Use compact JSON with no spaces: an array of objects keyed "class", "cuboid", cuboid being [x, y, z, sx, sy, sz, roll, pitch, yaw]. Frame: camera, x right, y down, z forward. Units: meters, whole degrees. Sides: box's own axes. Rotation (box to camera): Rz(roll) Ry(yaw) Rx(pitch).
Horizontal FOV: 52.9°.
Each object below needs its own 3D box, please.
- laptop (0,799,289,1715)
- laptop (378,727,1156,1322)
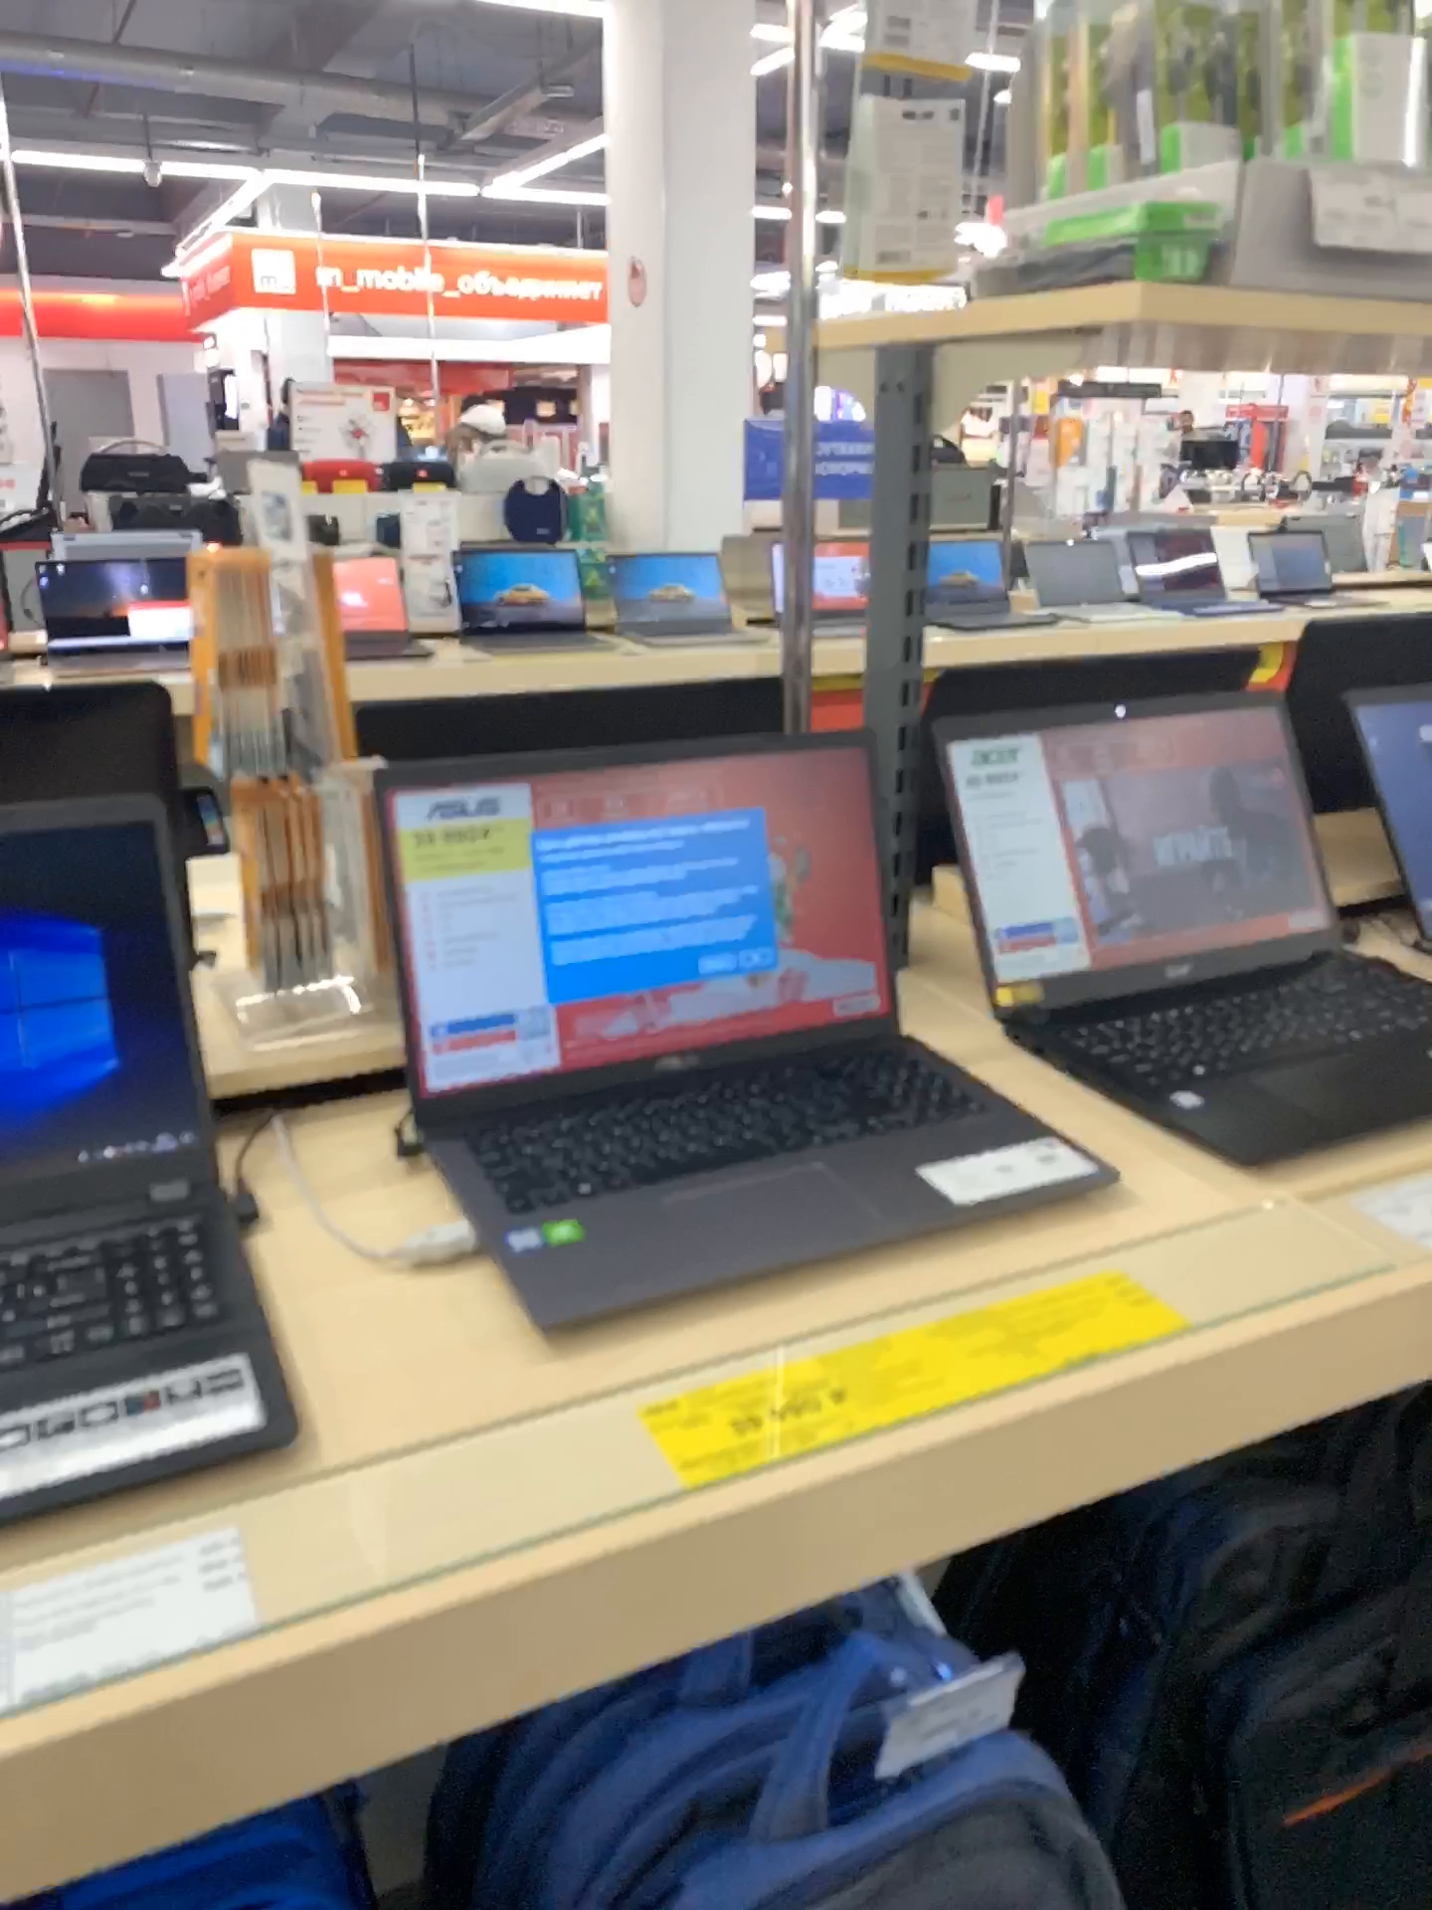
[{"class":"laptop","cuboid":[-0.421,0.080,0.683,0.350,0.214,0.362,-8,20,-25]},{"class":"laptop","cuboid":[0.016,0.008,0.884,0.366,0.217,0.298,-9,21,-24]}]
